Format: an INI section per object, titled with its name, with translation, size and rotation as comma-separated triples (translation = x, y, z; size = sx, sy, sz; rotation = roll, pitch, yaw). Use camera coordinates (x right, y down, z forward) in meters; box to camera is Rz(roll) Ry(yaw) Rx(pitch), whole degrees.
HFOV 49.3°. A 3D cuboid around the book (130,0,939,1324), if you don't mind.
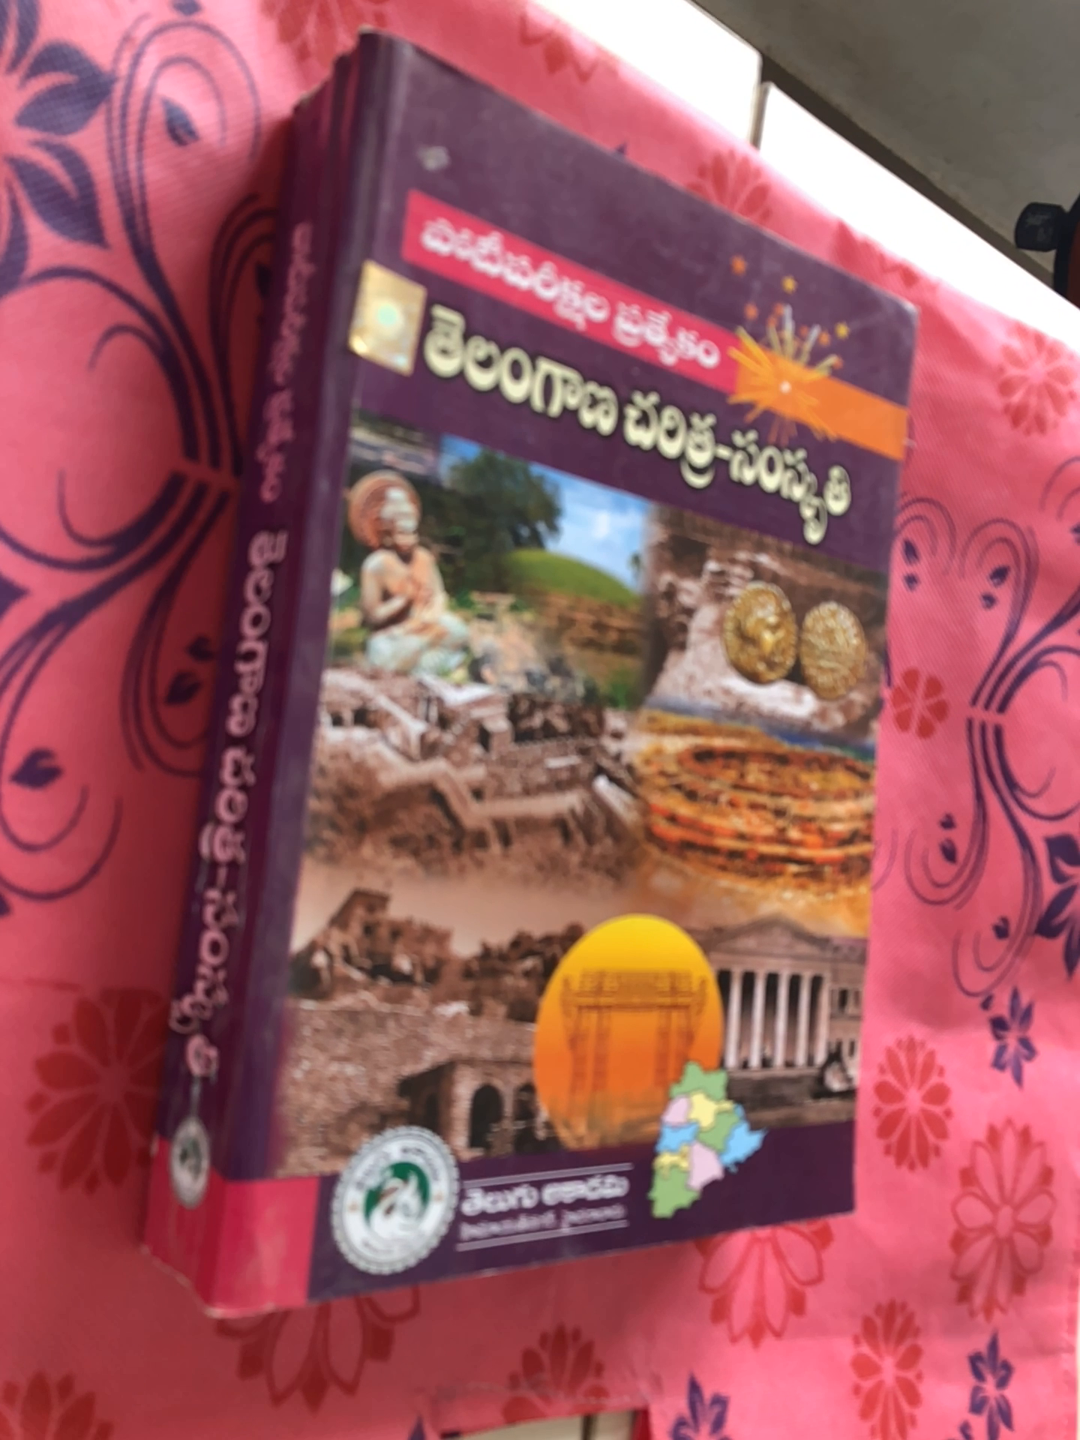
[book]
translation = 0.016, -0.011, 0.315
size = 0.201, 0.050, 0.280
rotation = 9, 82, -35
